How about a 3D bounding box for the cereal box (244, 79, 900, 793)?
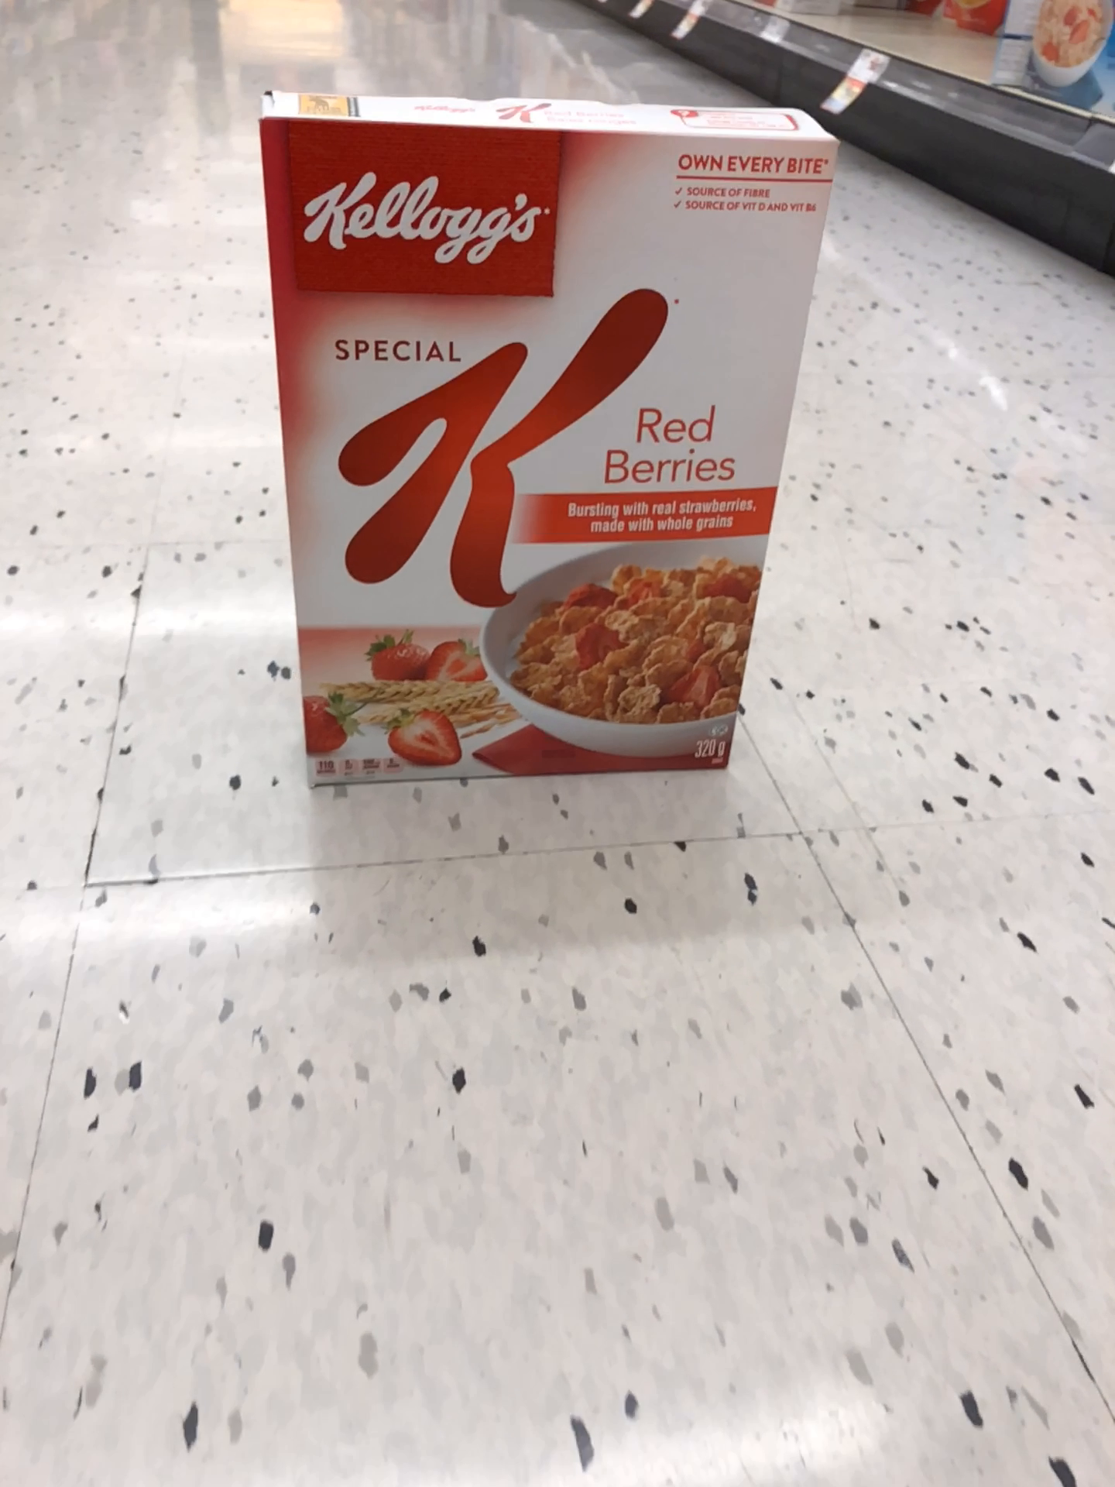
[{"bbox_3d":[-0.004,-0.106,0.485,0.210,0.258,0.060,-2,35,-9],"label":"cereal box"}]
